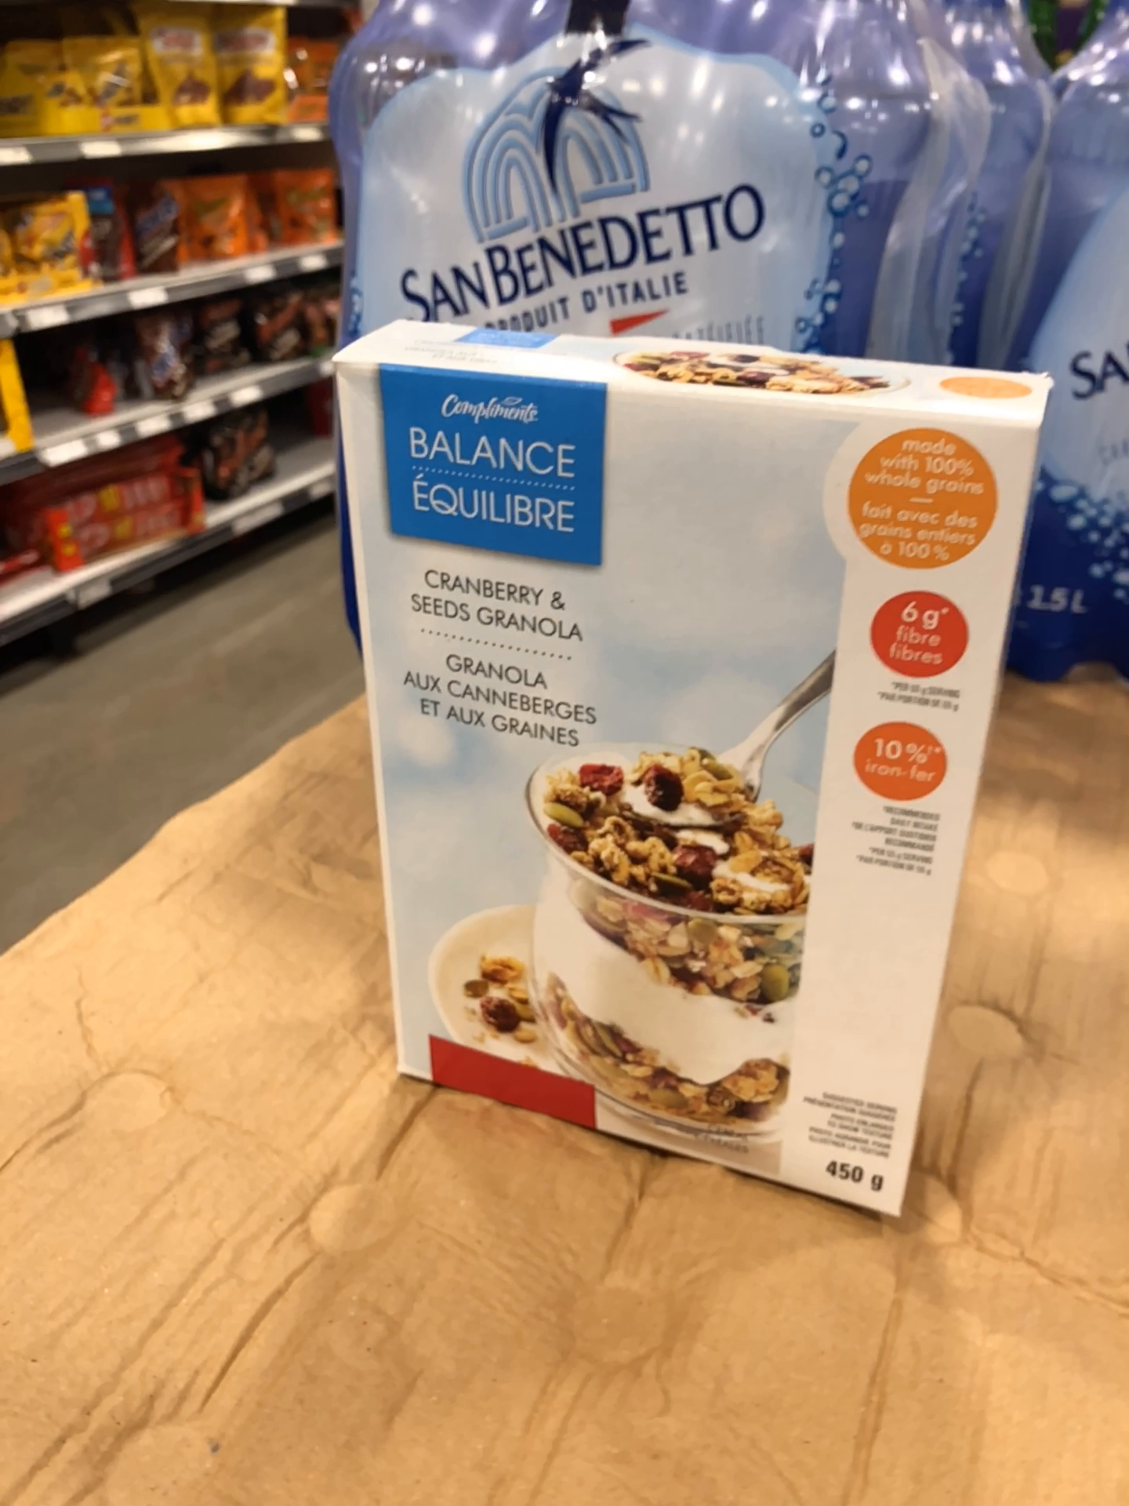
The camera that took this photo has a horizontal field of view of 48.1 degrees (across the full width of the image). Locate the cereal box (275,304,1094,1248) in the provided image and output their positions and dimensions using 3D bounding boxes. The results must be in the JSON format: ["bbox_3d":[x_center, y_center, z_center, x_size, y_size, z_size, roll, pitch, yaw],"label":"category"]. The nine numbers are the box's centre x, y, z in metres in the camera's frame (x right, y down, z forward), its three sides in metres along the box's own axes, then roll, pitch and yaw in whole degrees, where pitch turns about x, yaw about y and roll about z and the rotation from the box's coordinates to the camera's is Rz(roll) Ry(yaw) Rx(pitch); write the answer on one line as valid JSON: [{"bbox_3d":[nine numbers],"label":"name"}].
[{"bbox_3d":[0.025,0.007,0.343,0.180,0.229,0.050,11,30,20],"label":"cereal box"}]
